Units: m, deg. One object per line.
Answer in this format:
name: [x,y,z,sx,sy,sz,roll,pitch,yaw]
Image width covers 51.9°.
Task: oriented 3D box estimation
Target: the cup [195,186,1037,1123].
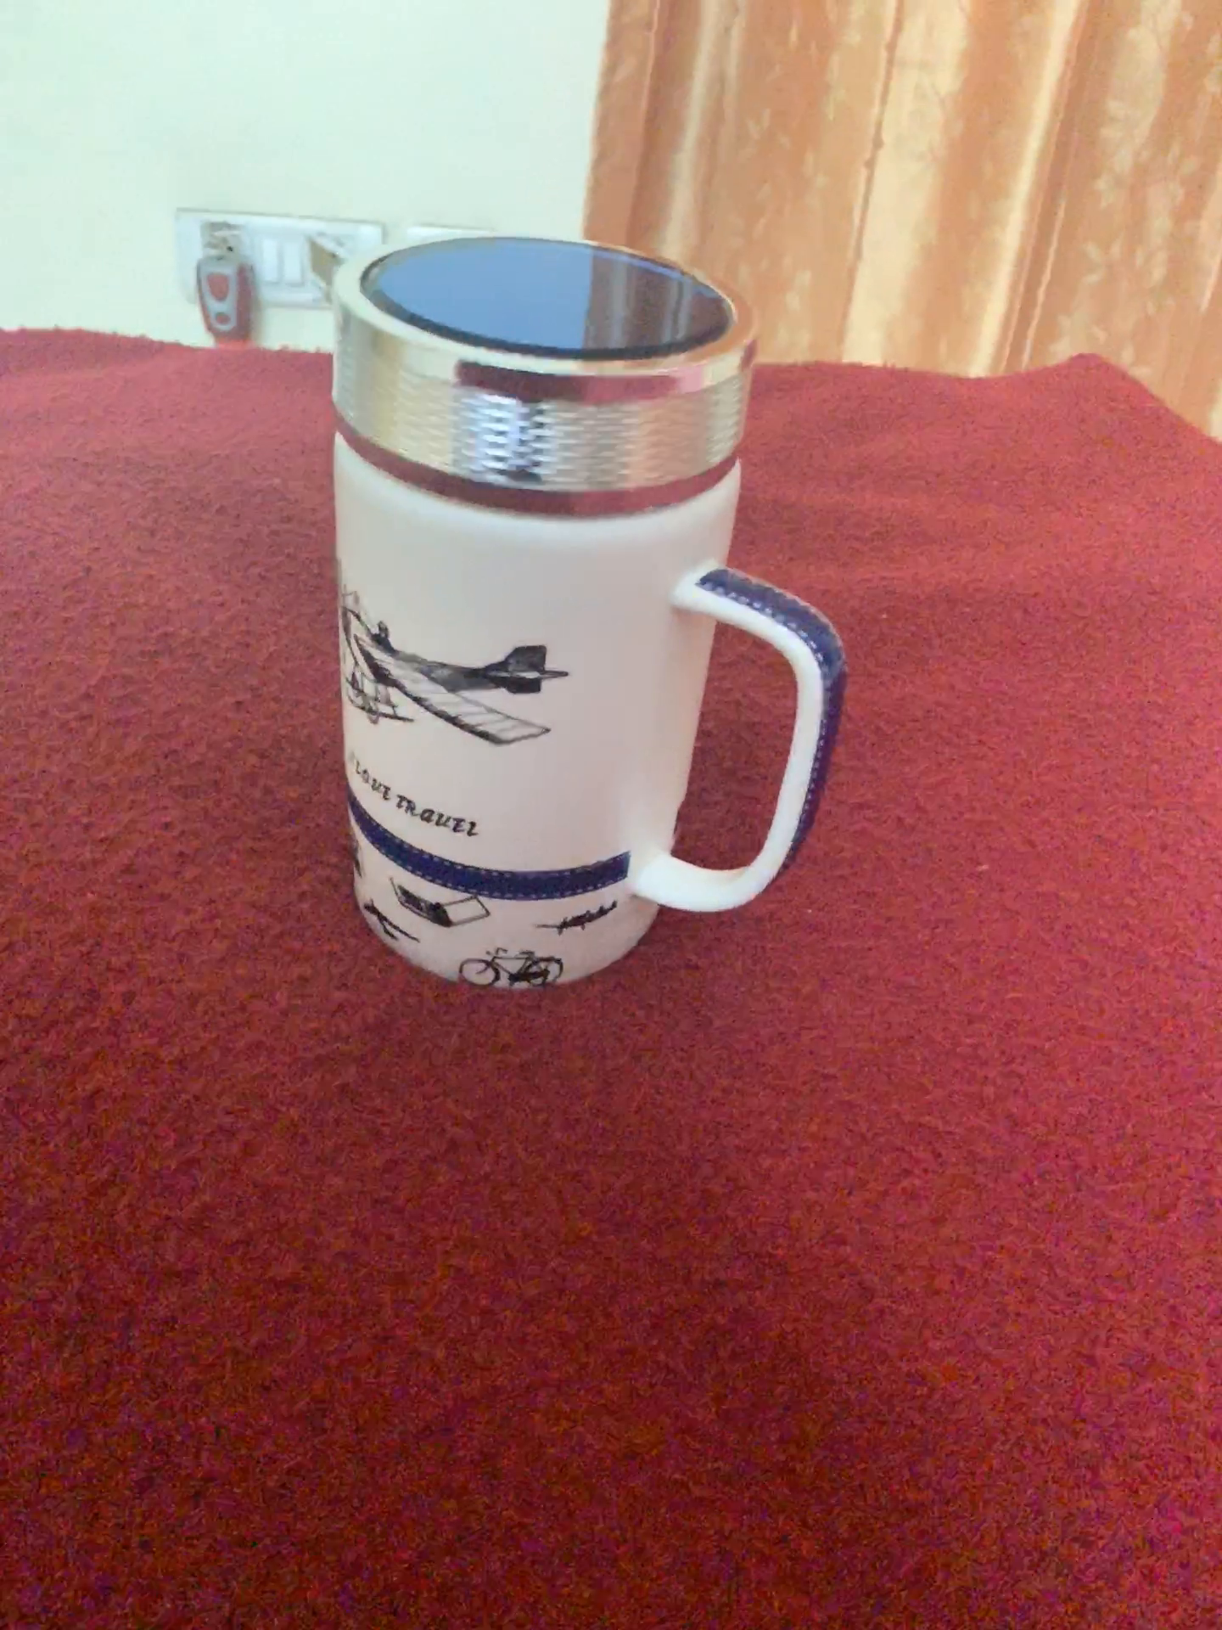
cup: [-0.003,-0.038,0.265,0.120,0.139,0.091,26,42,24]
